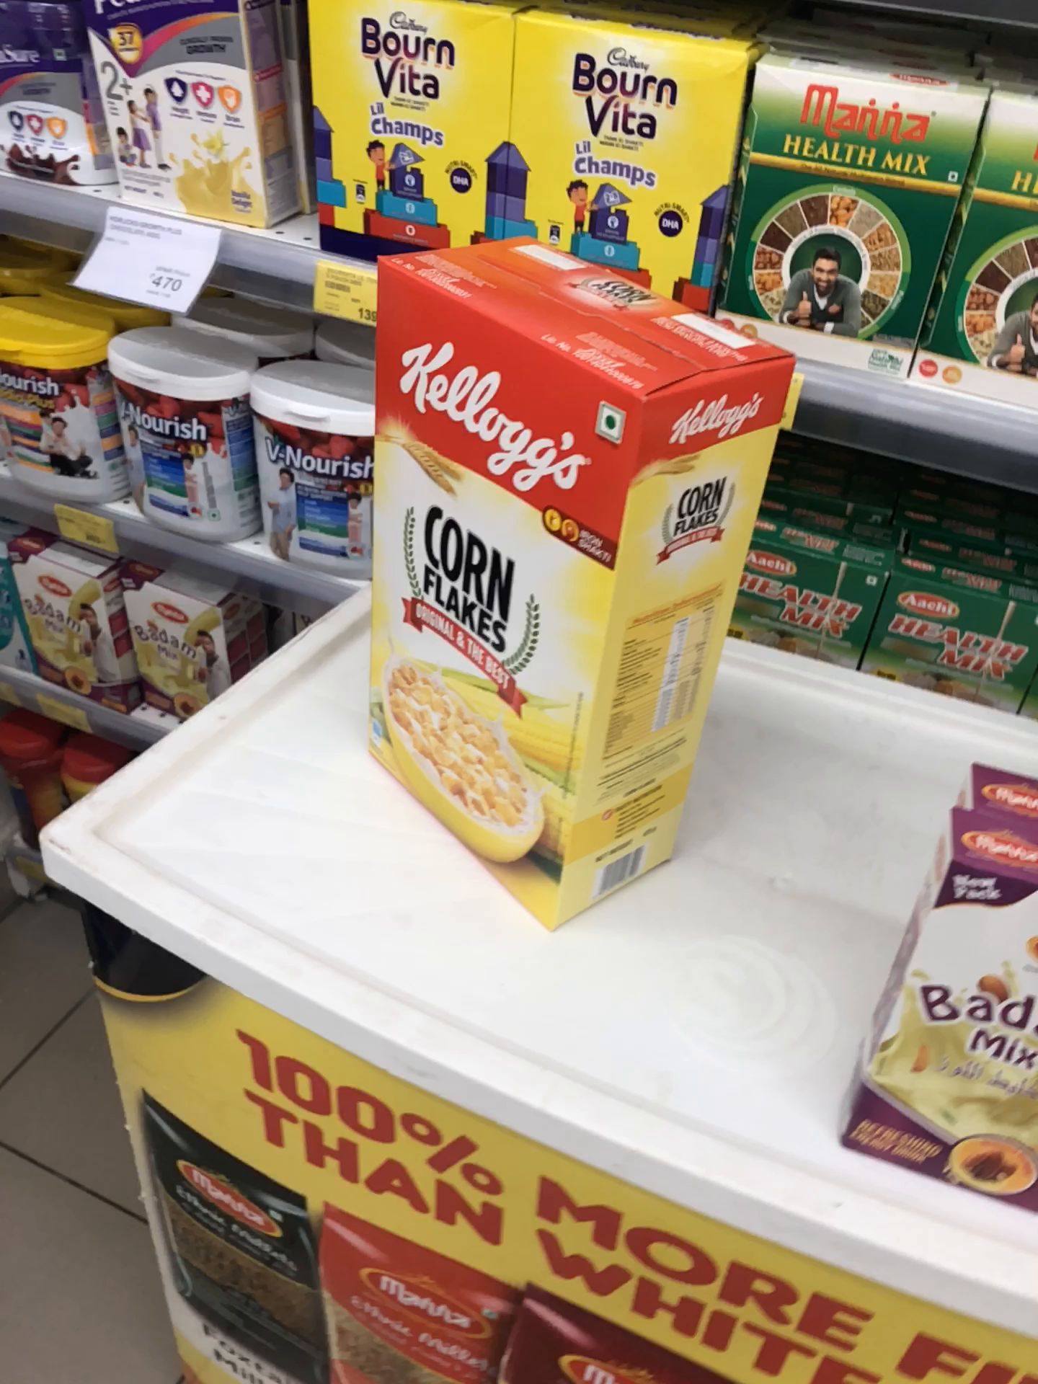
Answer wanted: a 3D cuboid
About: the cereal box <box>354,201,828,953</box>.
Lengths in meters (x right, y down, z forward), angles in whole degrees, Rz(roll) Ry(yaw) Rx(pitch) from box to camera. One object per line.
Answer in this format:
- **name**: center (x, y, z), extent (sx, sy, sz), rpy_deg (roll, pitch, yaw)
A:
- **cereal box**: center (0.015, -0.059, 0.615), extent (0.110, 0.329, 0.201), rpy_deg (-22, 44, -31)
